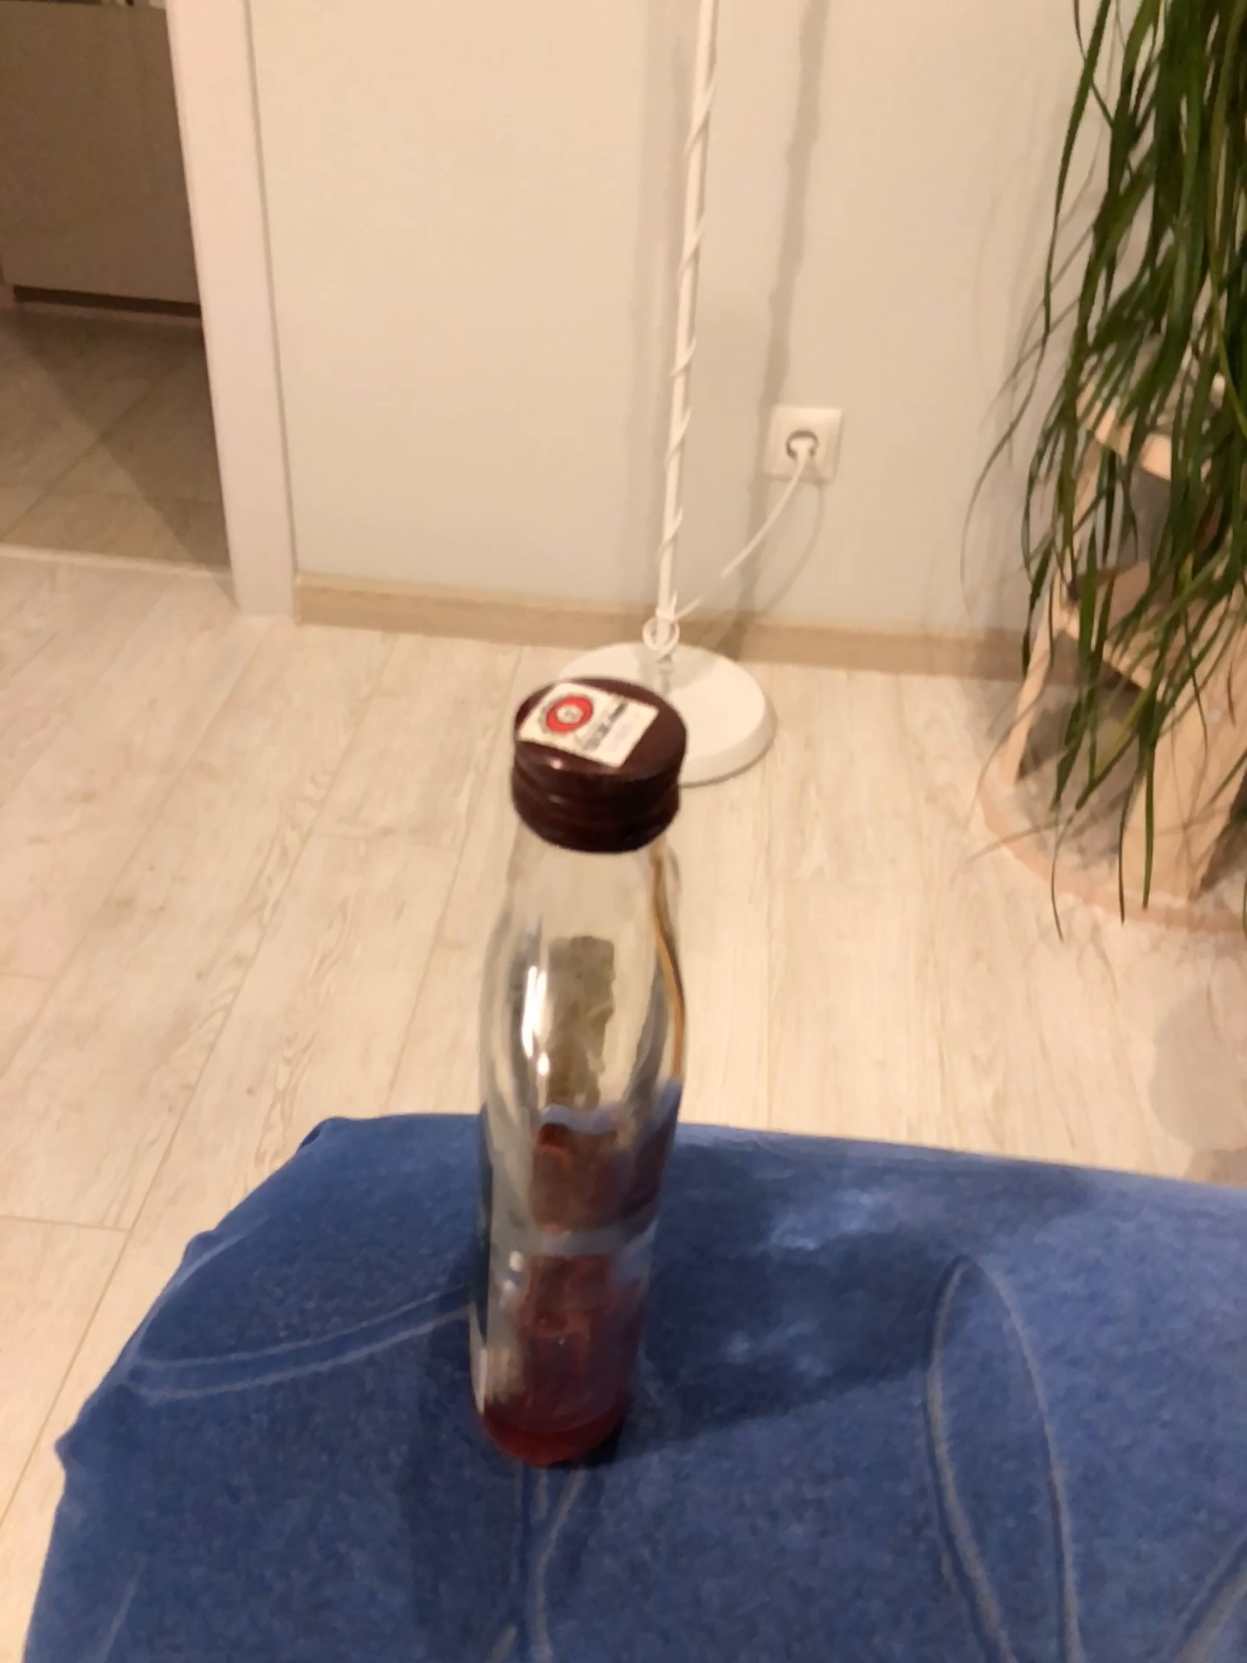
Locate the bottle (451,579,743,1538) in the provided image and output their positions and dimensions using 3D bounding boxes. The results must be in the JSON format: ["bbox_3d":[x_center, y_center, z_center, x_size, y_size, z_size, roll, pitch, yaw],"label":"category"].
[{"bbox_3d":[-0.008,0.052,0.277,0.040,0.179,0.091,4,37,-1],"label":"bottle"}]
